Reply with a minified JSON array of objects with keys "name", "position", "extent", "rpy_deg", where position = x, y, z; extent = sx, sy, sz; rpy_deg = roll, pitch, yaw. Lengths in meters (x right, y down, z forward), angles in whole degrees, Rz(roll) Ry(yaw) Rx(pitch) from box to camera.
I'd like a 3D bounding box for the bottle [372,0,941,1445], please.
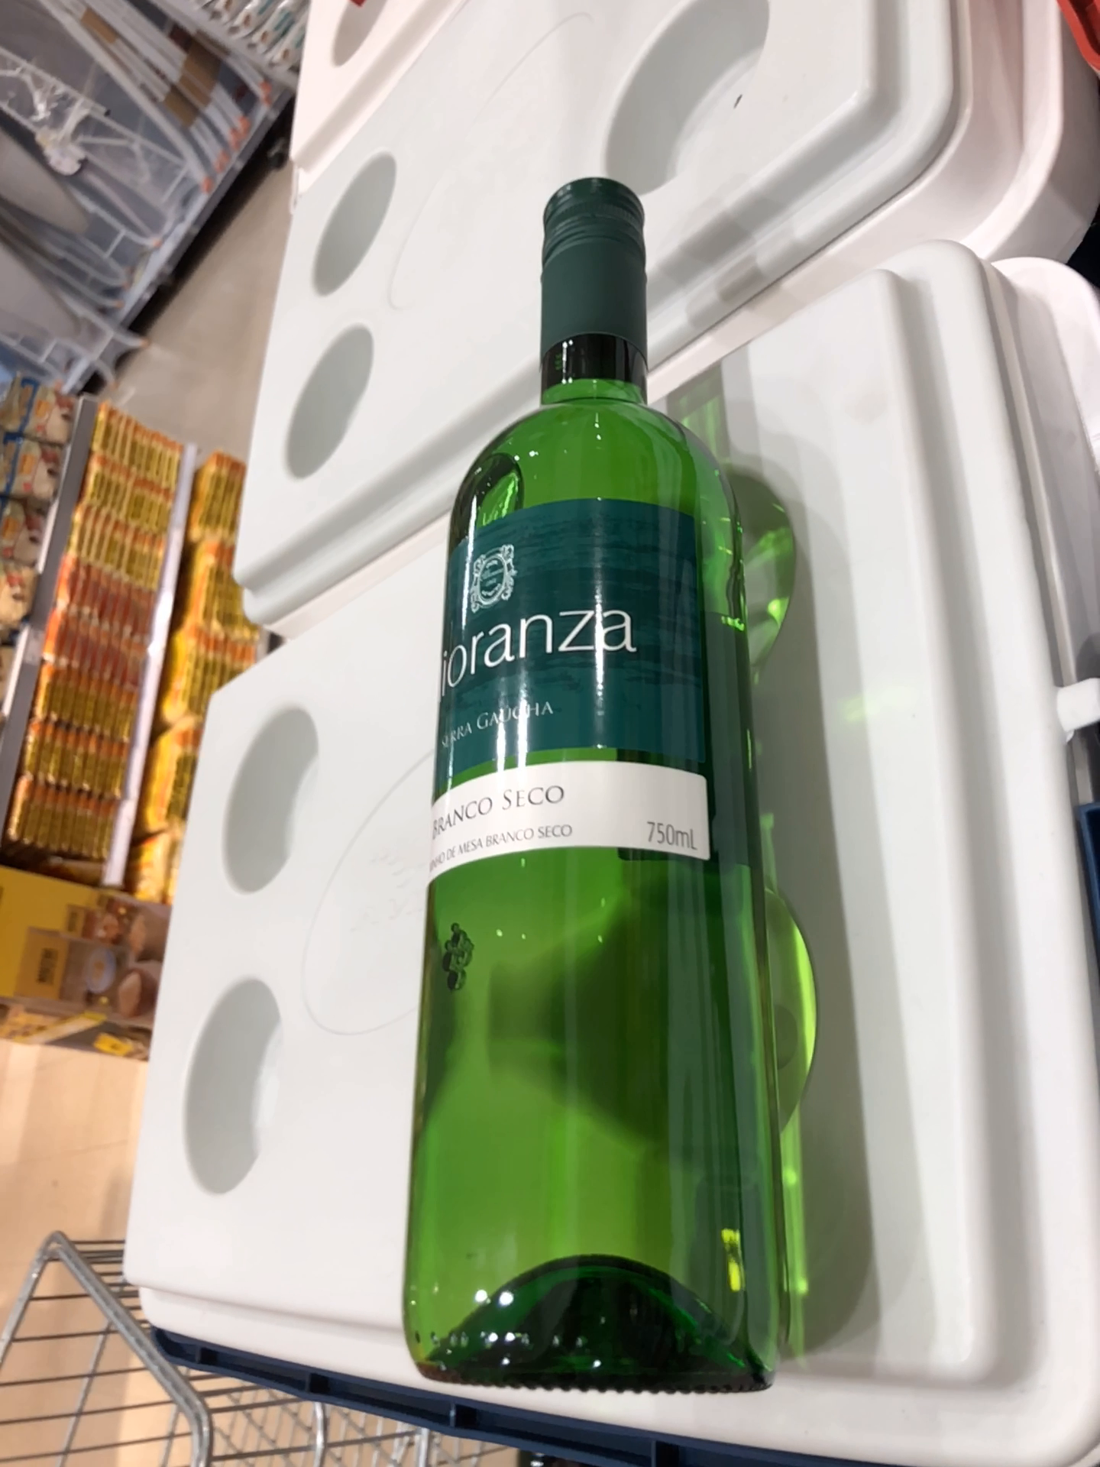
[{"name":"bottle","position":[0.024,-0.034,0.307],"extent":[0.080,0.070,0.361],"rpy_deg":[-26,53,44]}]
